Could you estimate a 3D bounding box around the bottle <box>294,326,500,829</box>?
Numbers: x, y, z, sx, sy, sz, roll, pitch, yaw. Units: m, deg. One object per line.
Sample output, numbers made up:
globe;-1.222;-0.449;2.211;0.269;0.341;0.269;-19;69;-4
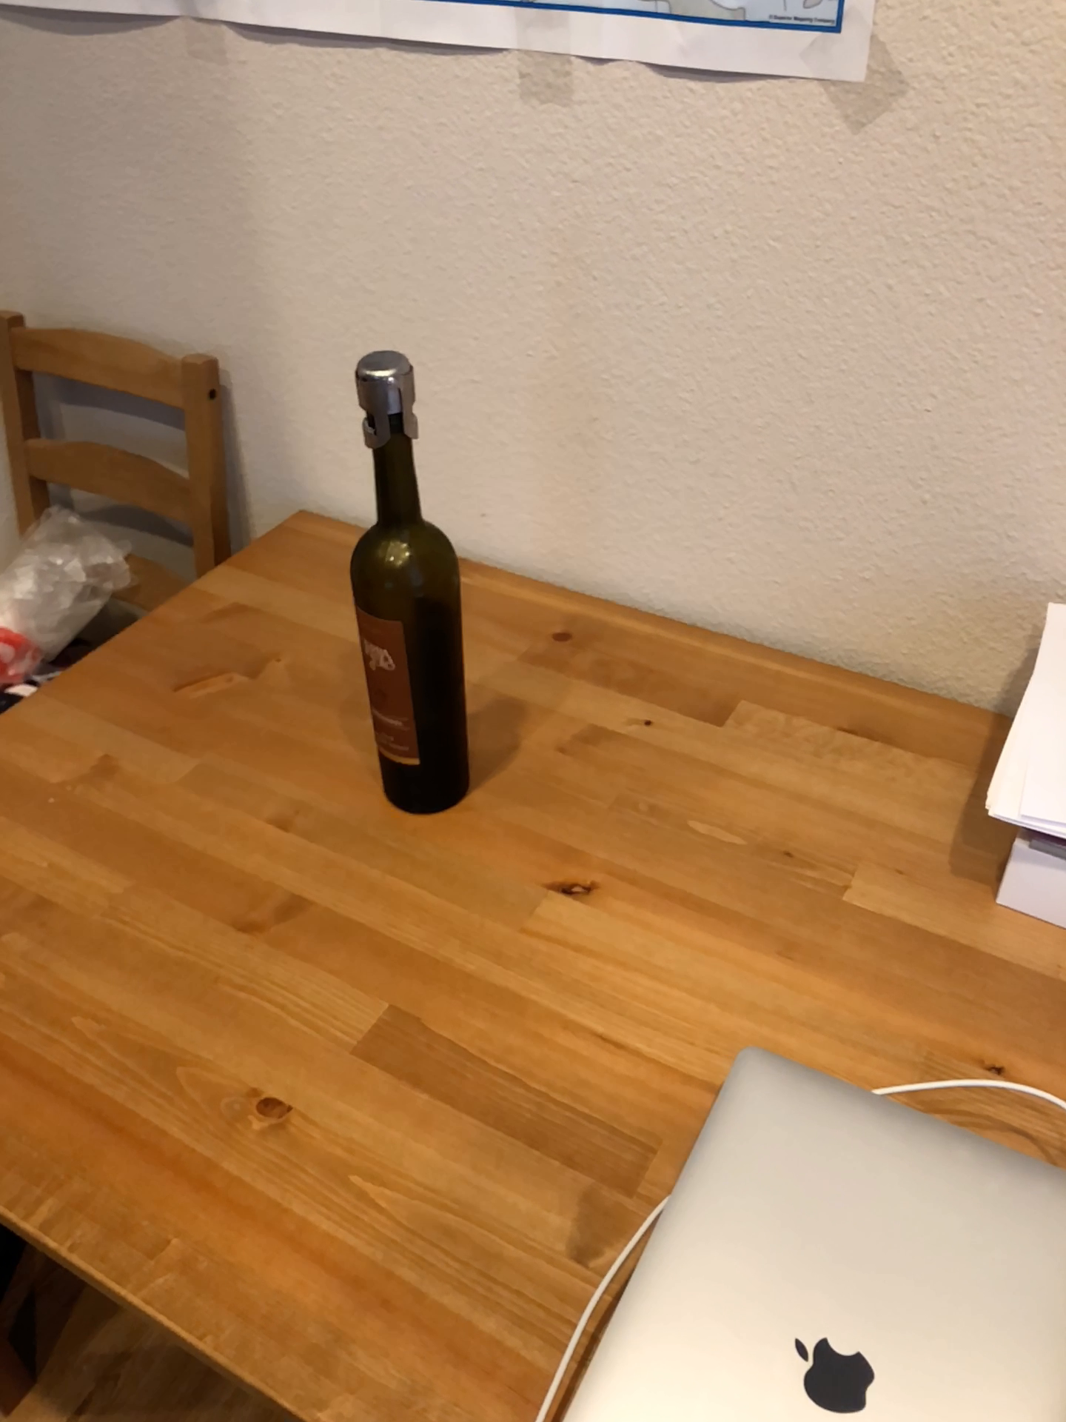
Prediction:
bottle;-0.088;-0.082;0.845;0.080;0.348;0.080;-1;38;1
